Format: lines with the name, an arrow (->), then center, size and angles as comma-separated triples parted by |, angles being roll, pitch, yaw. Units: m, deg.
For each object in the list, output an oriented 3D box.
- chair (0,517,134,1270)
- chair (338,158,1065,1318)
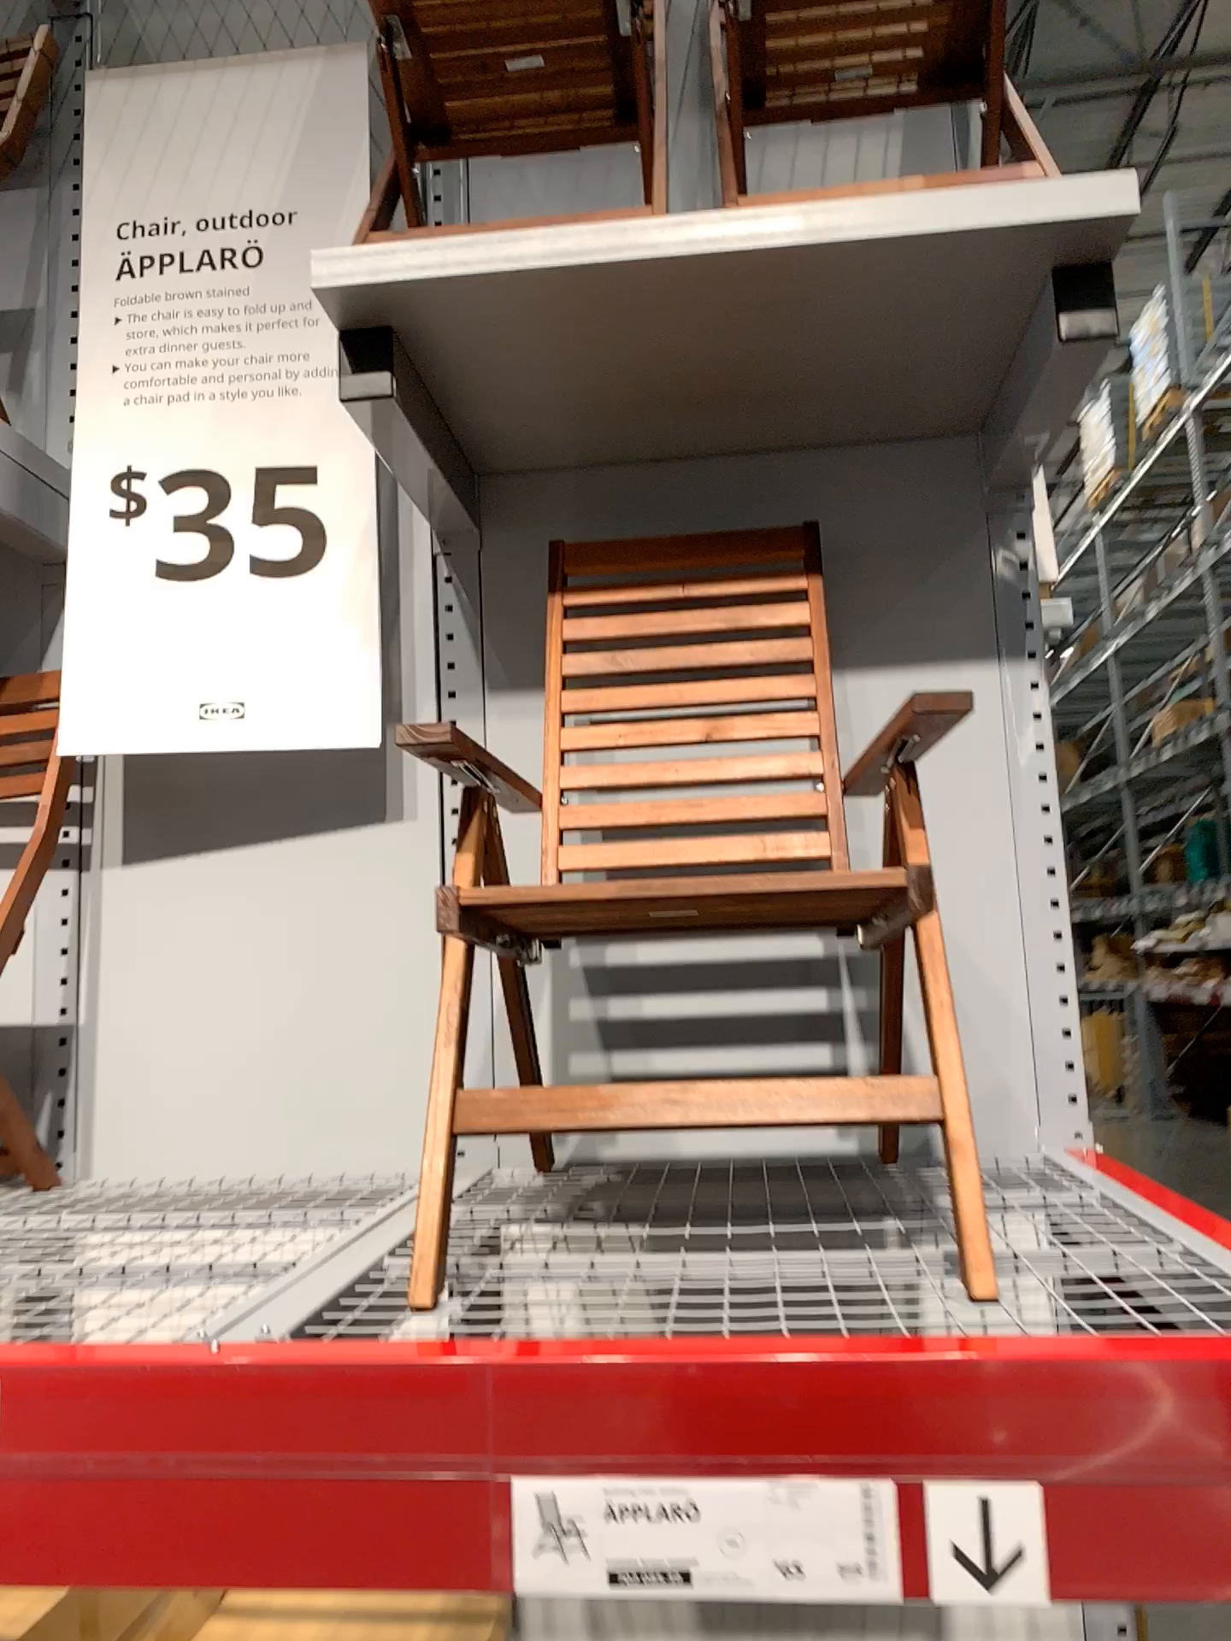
chair -> -1.150, 0.115, 1.839 | 0.615, 0.886, 0.630 | -3, -8, 4
chair -> 0.089, -0.045, 1.603 | 0.615, 1.056, 0.889 | -3, -8, 4
